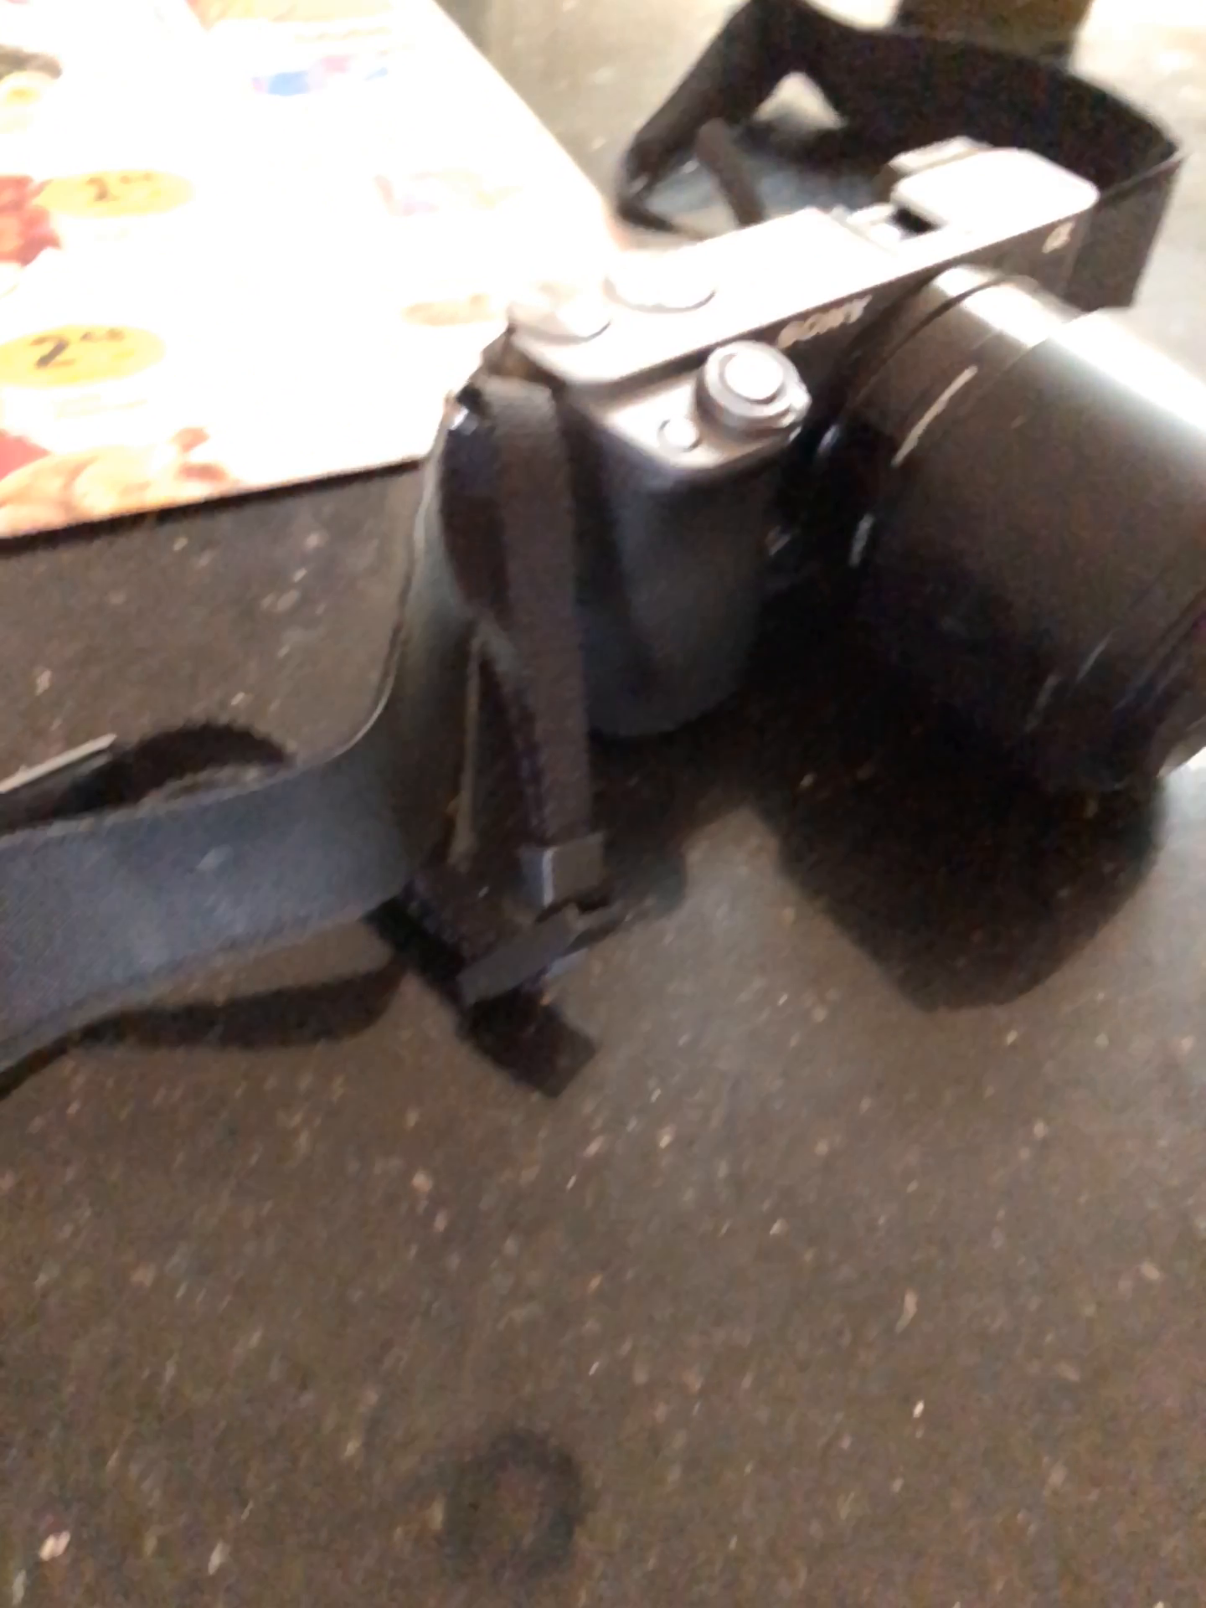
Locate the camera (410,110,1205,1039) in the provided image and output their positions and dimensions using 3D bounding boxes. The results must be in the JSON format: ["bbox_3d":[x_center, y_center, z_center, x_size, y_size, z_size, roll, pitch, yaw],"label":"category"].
[{"bbox_3d":[0.052,-0.049,0.235,0.130,0.070,0.110,-28,59,-27],"label":"camera"}]
